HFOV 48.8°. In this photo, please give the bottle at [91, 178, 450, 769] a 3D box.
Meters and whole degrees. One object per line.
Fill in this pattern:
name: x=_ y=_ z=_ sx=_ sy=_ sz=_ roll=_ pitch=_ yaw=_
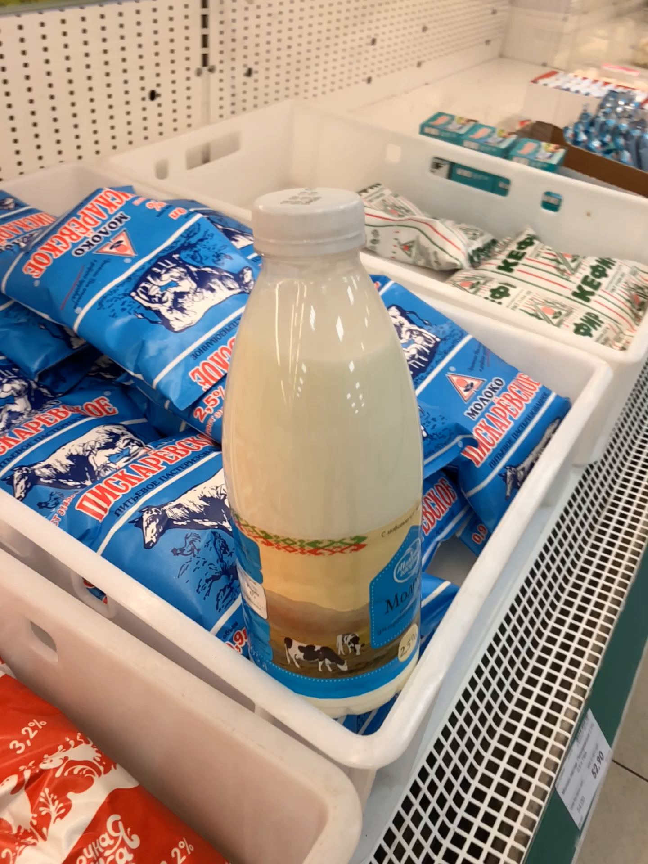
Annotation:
bottle: x=-0.008 y=0.019 z=0.314 sx=0.090 sy=0.229 sz=0.090 roll=-5 pitch=30 yaw=3
